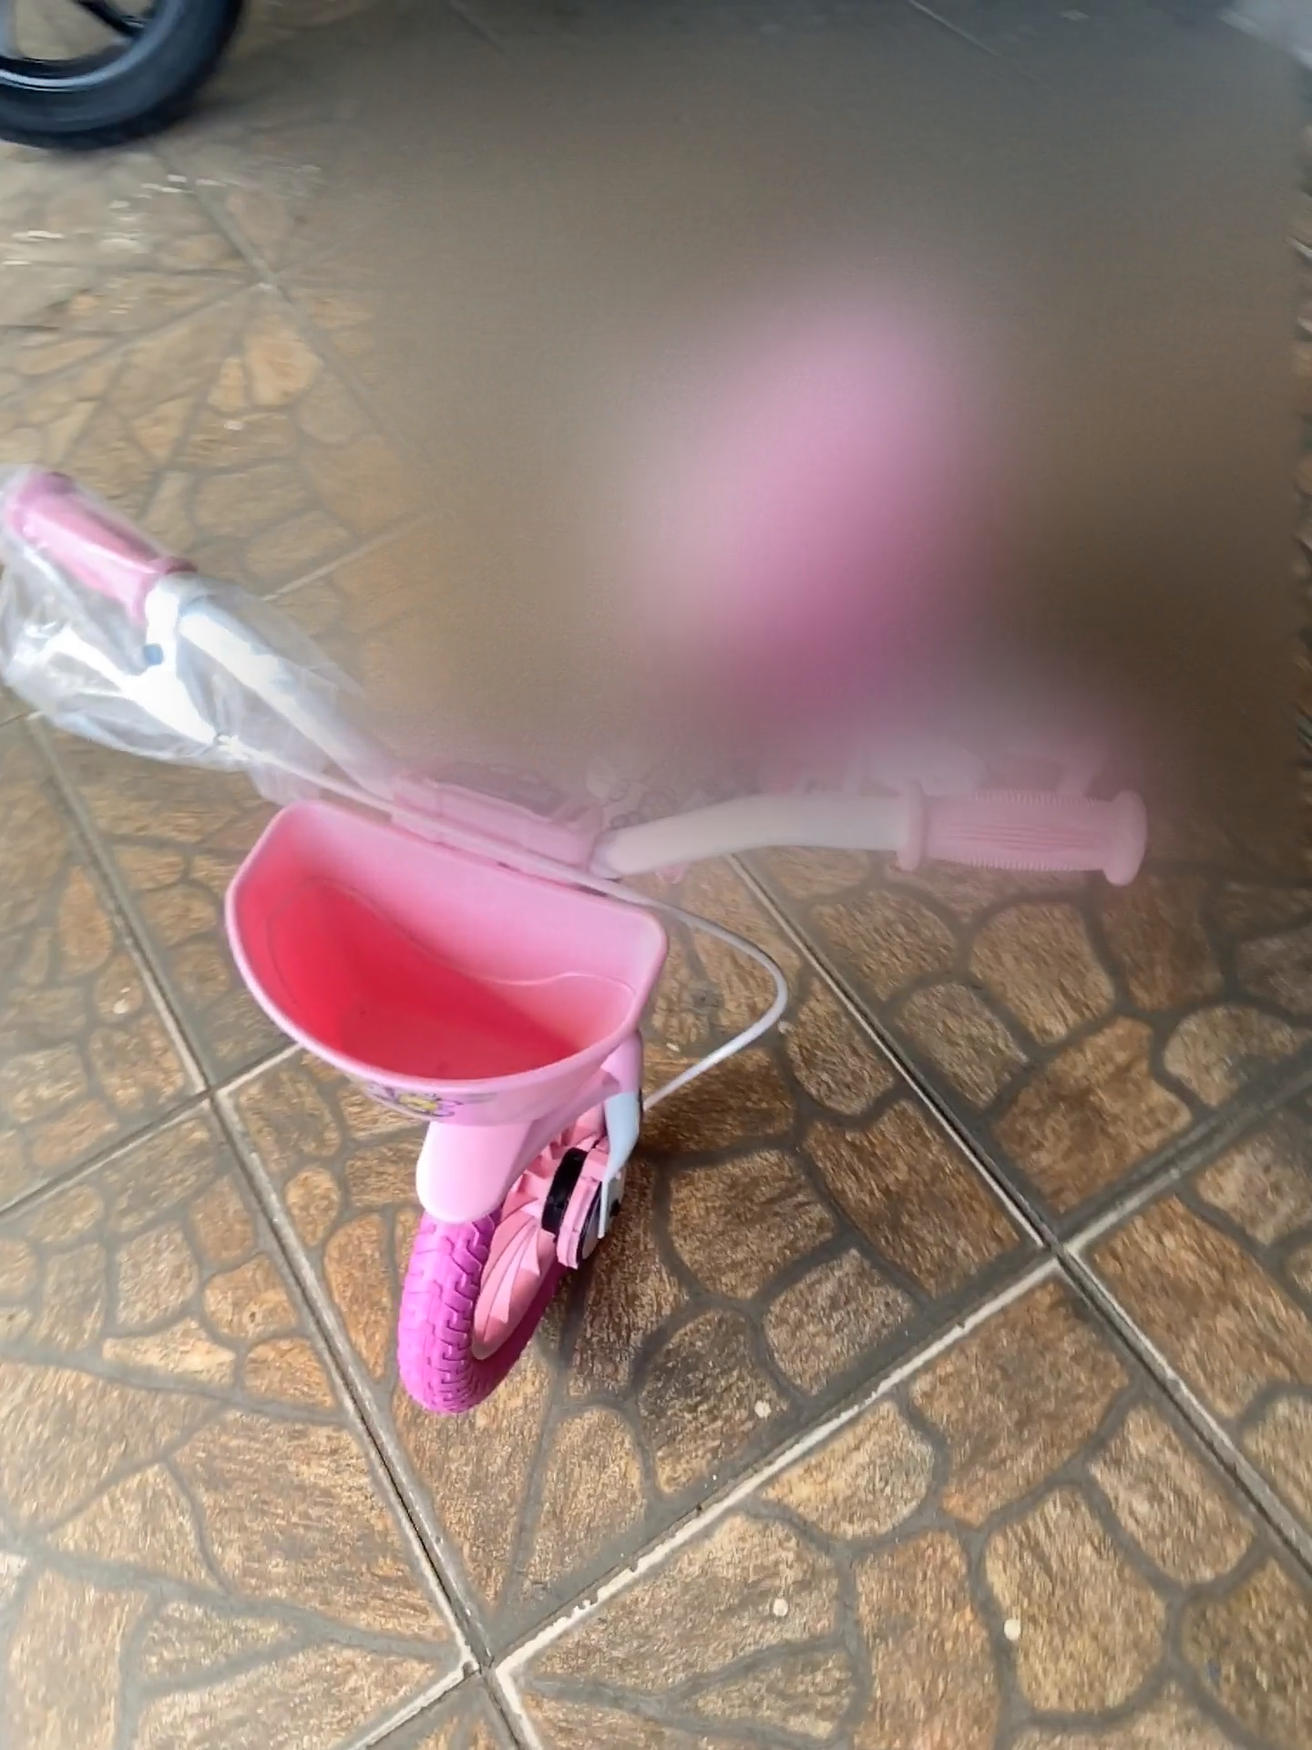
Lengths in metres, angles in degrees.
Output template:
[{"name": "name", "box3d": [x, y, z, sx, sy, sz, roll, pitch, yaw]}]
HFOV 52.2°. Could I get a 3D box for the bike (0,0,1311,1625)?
[{"name": "bike", "box3d": [0.022, -0.075, 0.838, 0.511, 0.563, 0.794, 23, 63, 18]}]
